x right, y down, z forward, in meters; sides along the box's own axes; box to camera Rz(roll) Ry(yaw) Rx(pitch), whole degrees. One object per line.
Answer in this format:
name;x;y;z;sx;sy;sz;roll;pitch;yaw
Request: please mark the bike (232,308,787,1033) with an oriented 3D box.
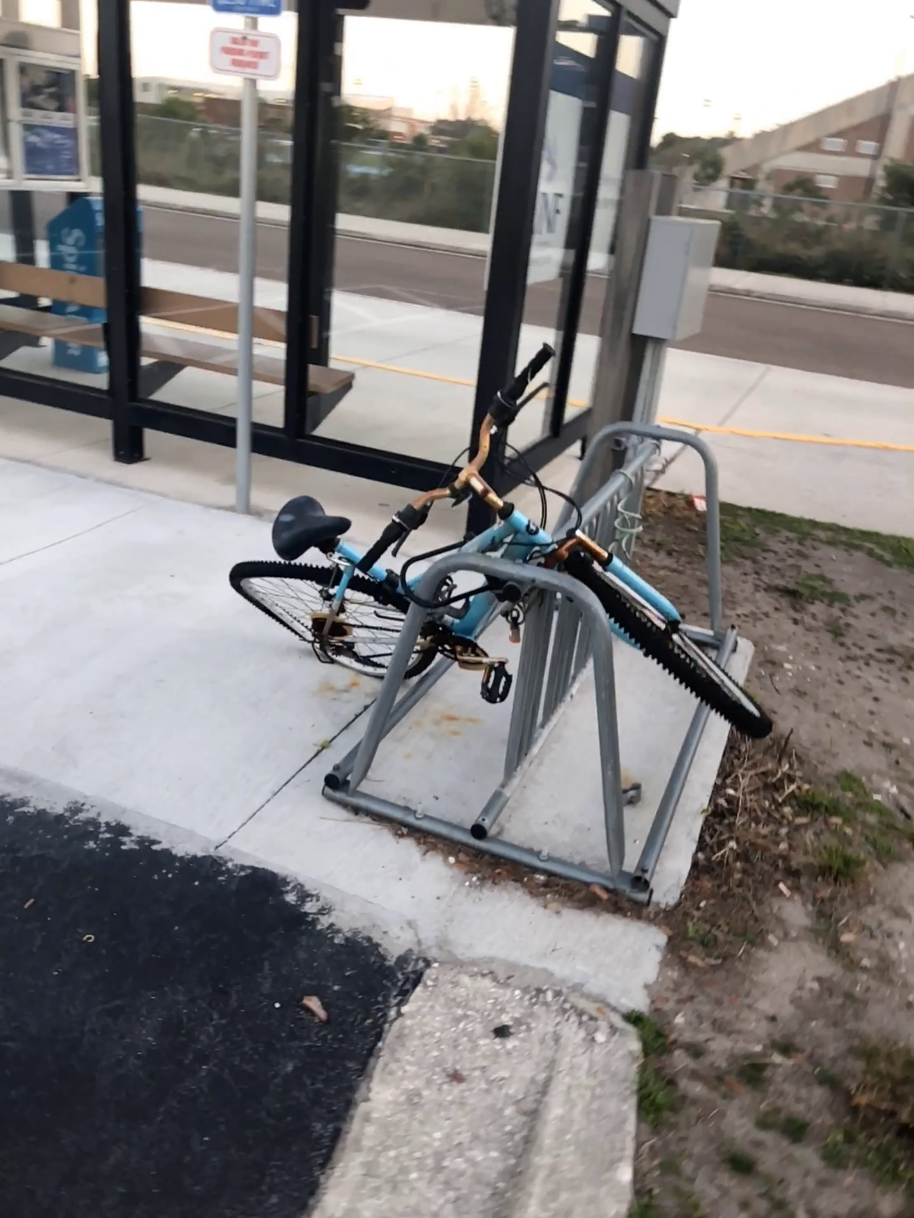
bike;0.013;0.019;2.048;0.549;1.128;0.940;-16;31;-42
